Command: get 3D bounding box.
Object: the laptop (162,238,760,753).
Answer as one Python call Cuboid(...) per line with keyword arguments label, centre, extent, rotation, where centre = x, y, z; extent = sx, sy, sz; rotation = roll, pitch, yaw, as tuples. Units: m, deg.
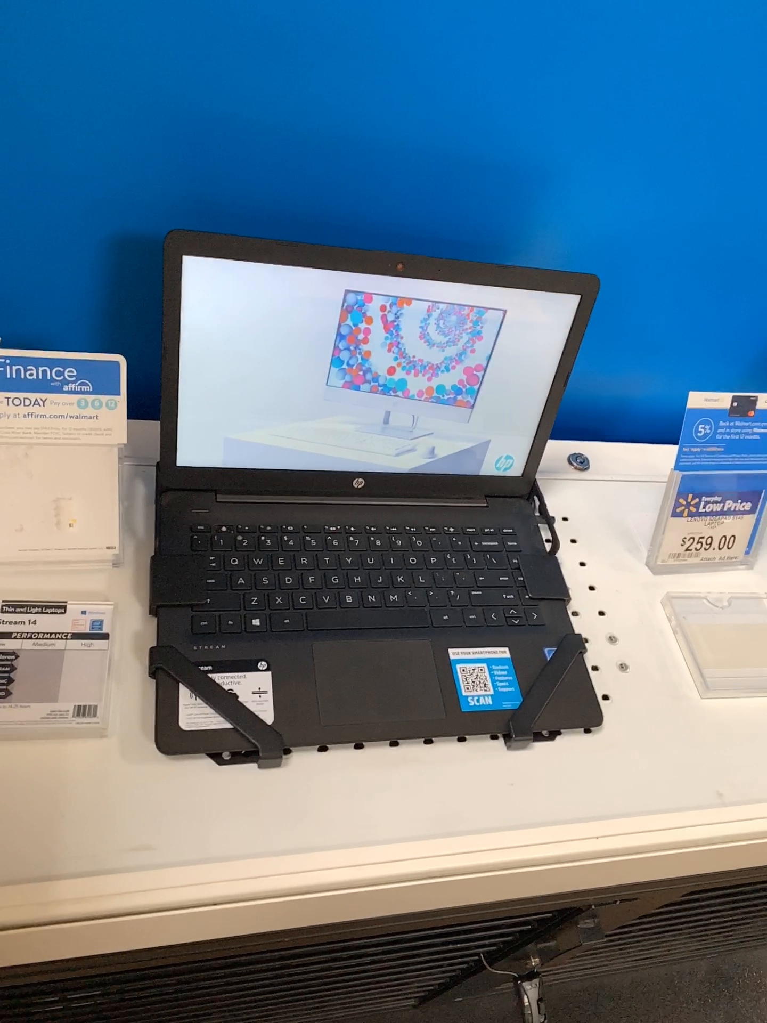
Cuboid(label="laptop", centre=(0.013, -0.010, 0.559), extent=(0.326, 0.203, 0.270), rotation=(1, 51, -16))
